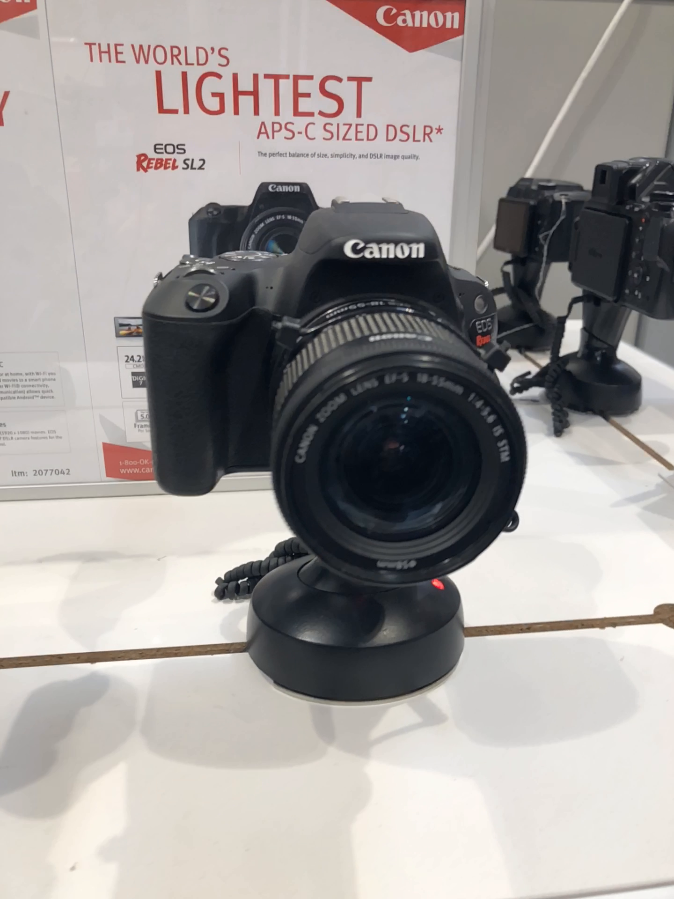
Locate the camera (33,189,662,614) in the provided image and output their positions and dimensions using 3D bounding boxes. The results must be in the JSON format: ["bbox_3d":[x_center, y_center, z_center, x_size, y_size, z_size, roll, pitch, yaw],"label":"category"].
[{"bbox_3d":[-0.002,-0.027,0.225,0.130,0.089,0.121,-2,23,-6],"label":"camera"}]
